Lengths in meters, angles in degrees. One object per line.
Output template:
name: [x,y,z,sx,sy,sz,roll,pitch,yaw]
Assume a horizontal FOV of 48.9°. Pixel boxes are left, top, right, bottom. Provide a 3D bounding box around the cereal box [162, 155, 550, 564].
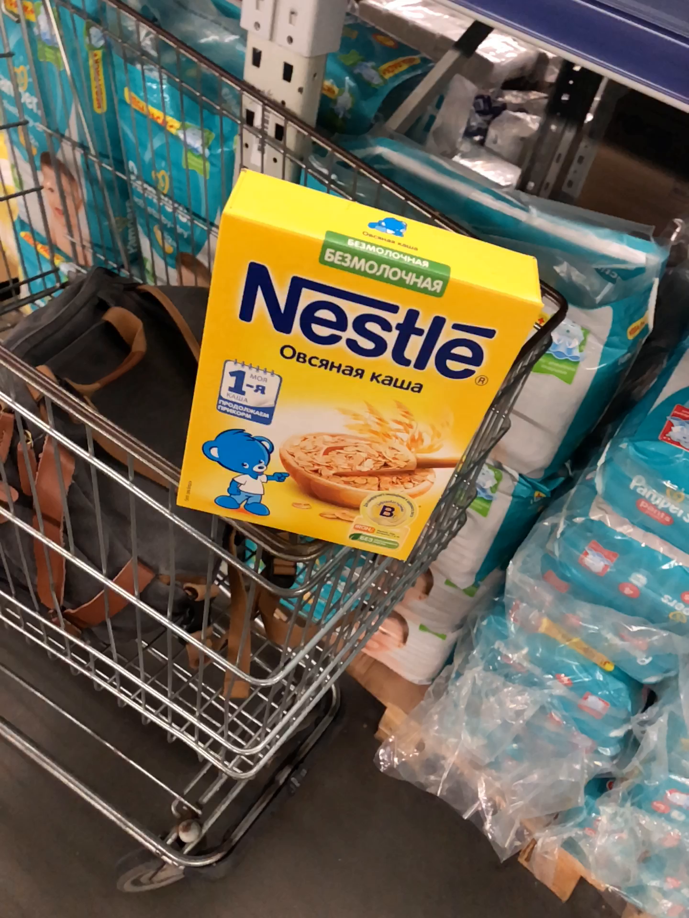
cereal box: [-0.007,-0.036,0.399,0.150,0.199,0.040,14,44,-7]
